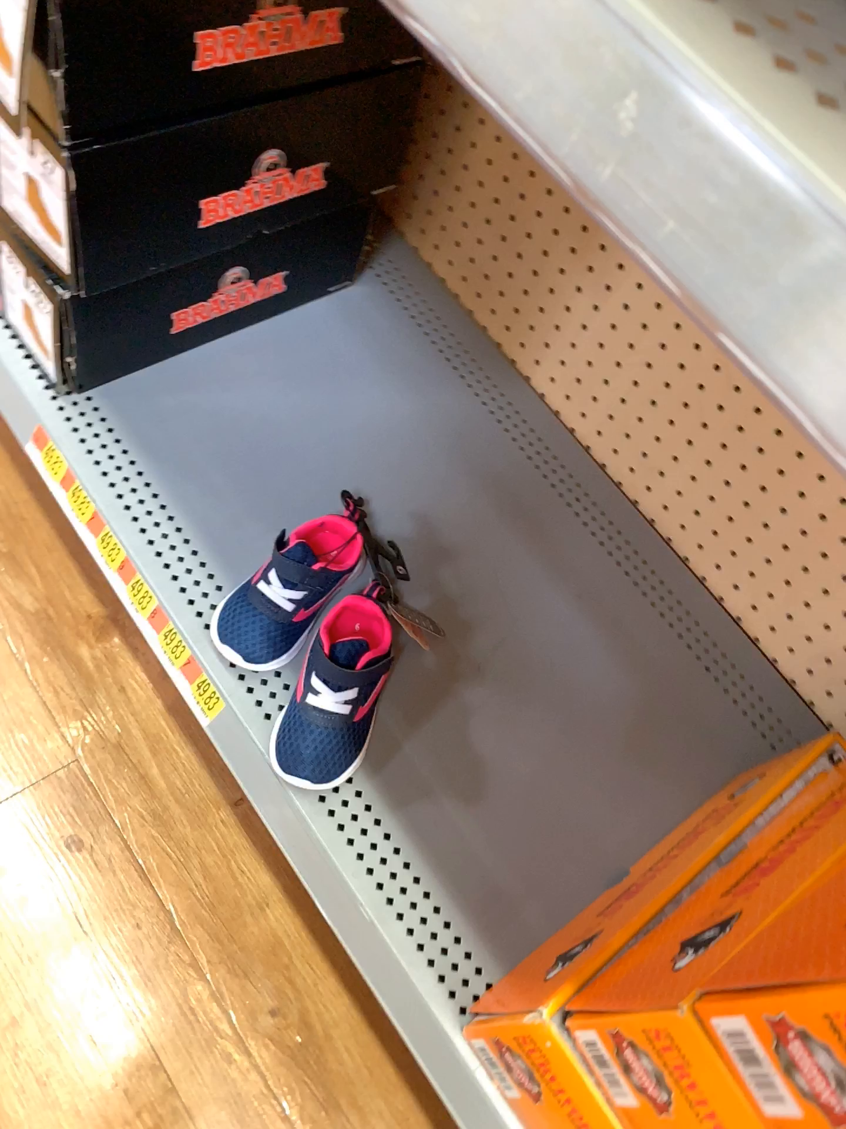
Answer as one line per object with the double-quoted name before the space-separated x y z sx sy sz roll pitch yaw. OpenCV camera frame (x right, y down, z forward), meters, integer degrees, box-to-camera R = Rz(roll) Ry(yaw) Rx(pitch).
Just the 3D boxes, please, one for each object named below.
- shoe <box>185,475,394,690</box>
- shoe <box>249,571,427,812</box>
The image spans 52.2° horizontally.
"shoe" -0.102 0.012 0.665 0.073 0.064 0.146 40 58 7
"shoe" -0.061 0.091 0.633 0.073 0.064 0.146 23 58 -4
